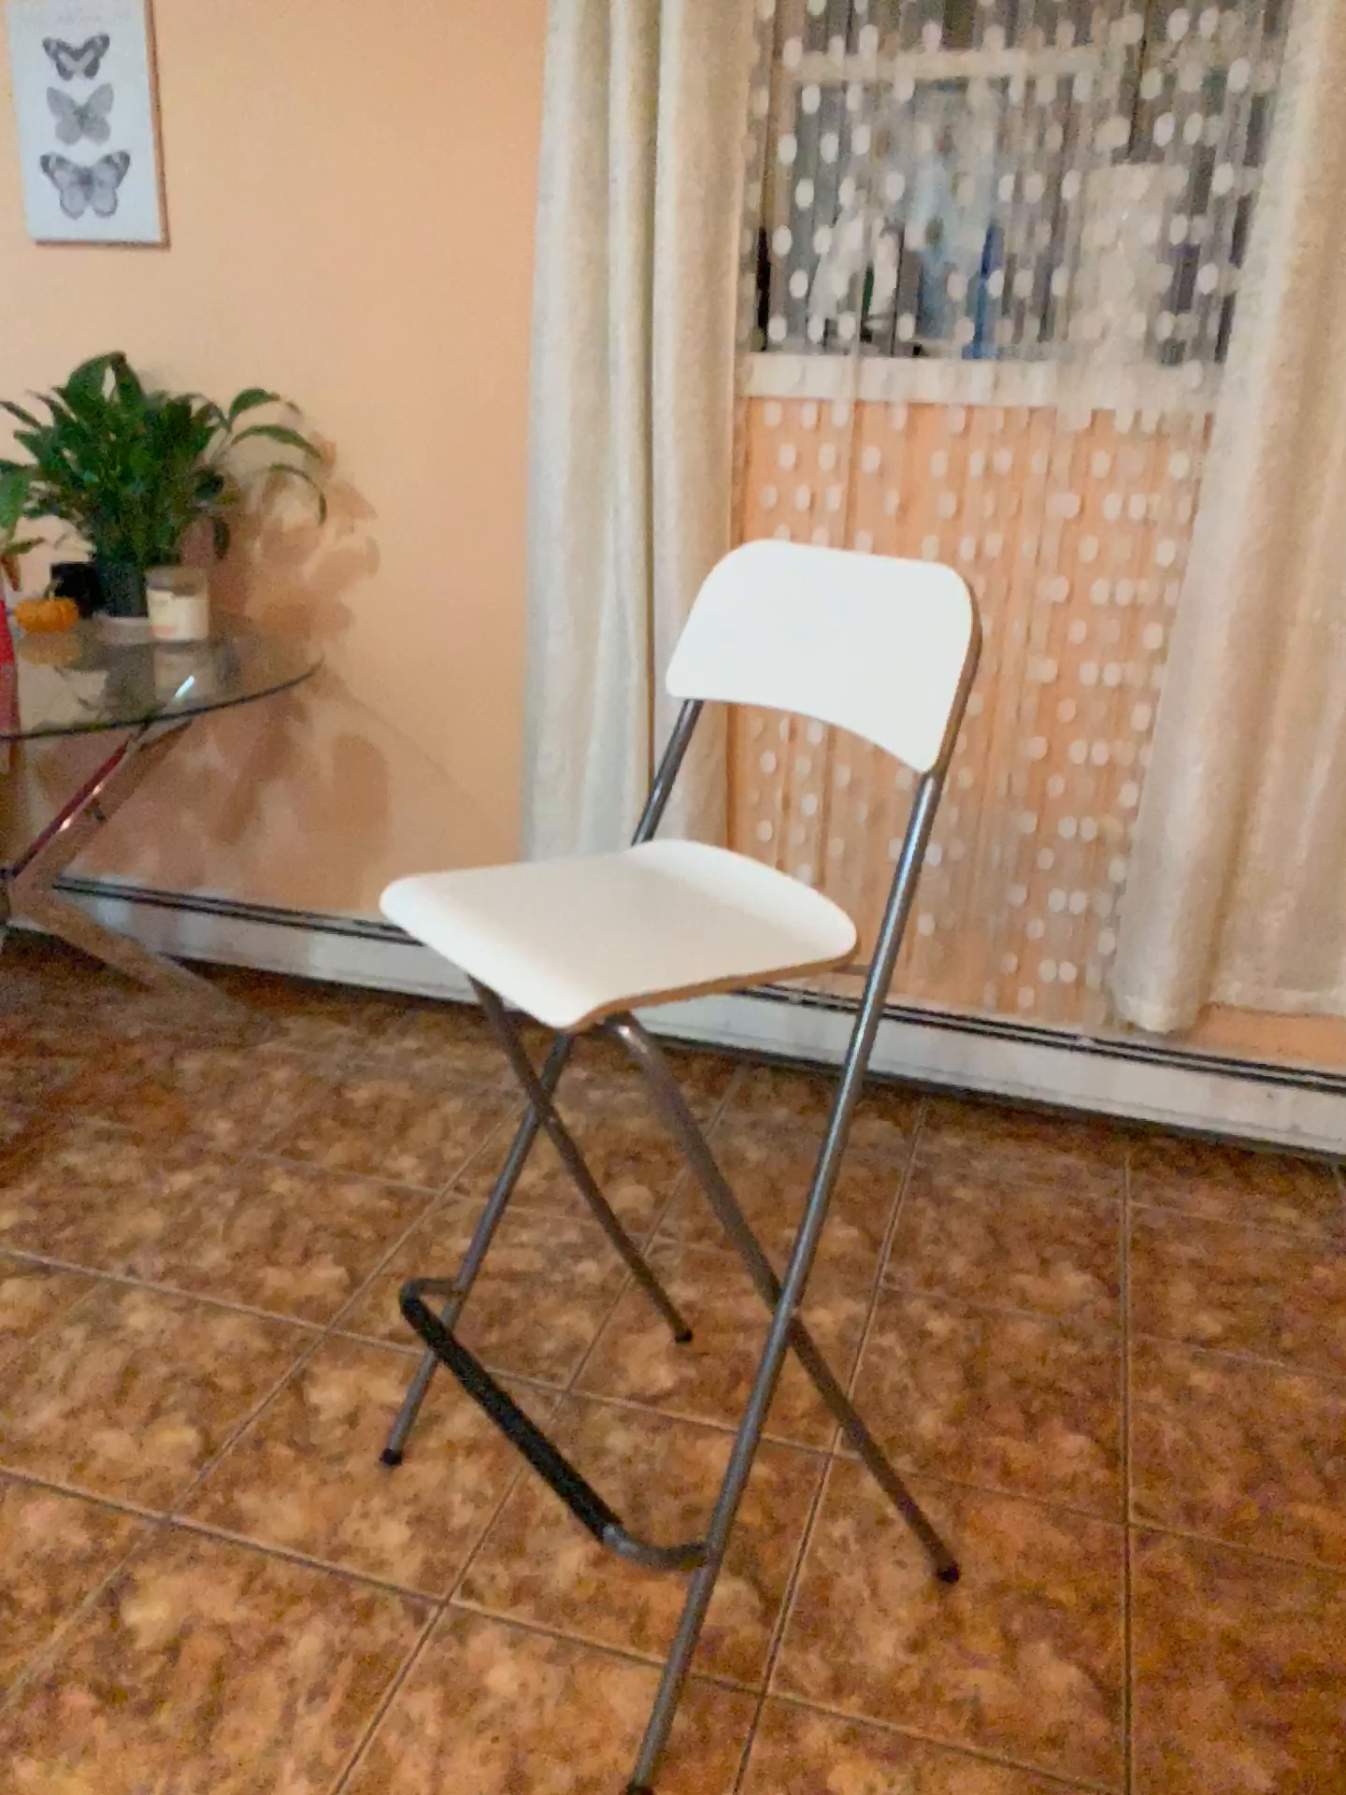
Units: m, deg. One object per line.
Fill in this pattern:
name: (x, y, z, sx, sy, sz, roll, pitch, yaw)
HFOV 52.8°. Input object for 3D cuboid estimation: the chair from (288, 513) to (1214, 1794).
chair: (0.021, 0.171, 1.344, 0.543, 1.008, 0.600, -13, 25, -39)
